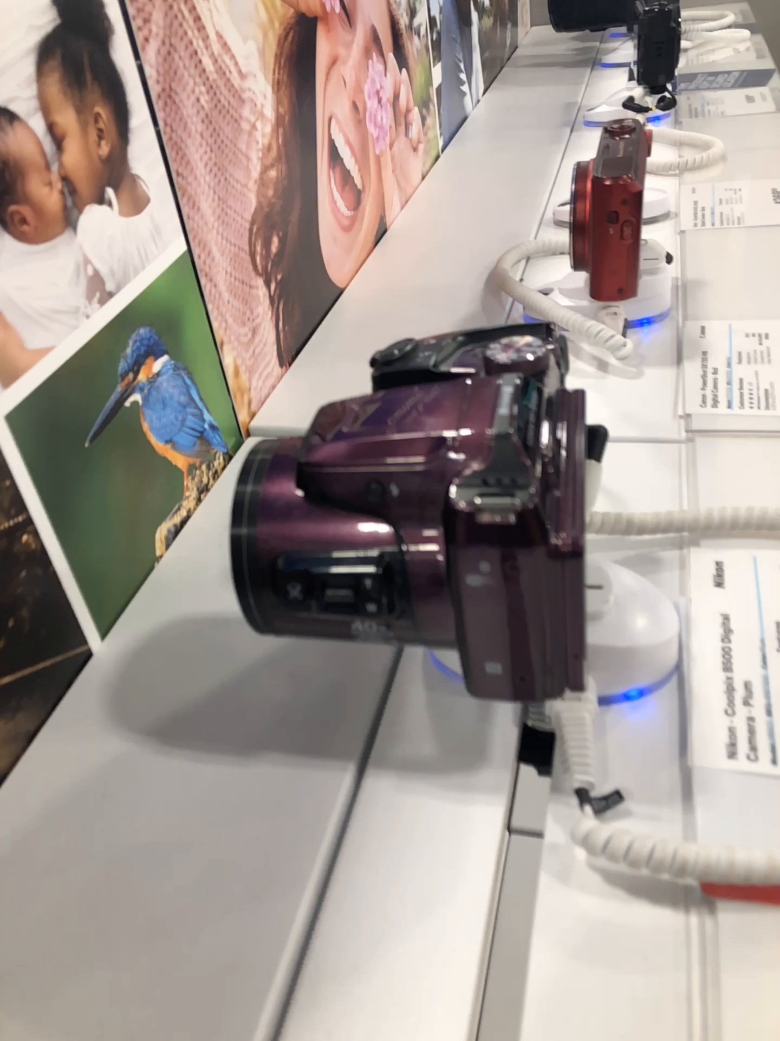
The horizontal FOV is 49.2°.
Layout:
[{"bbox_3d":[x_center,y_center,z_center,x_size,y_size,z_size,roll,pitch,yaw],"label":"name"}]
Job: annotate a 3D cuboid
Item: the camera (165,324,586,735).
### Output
[{"bbox_3d":[0.007,-0.003,0.263,0.100,0.060,0.121,-2,37,12],"label":"camera"}]
